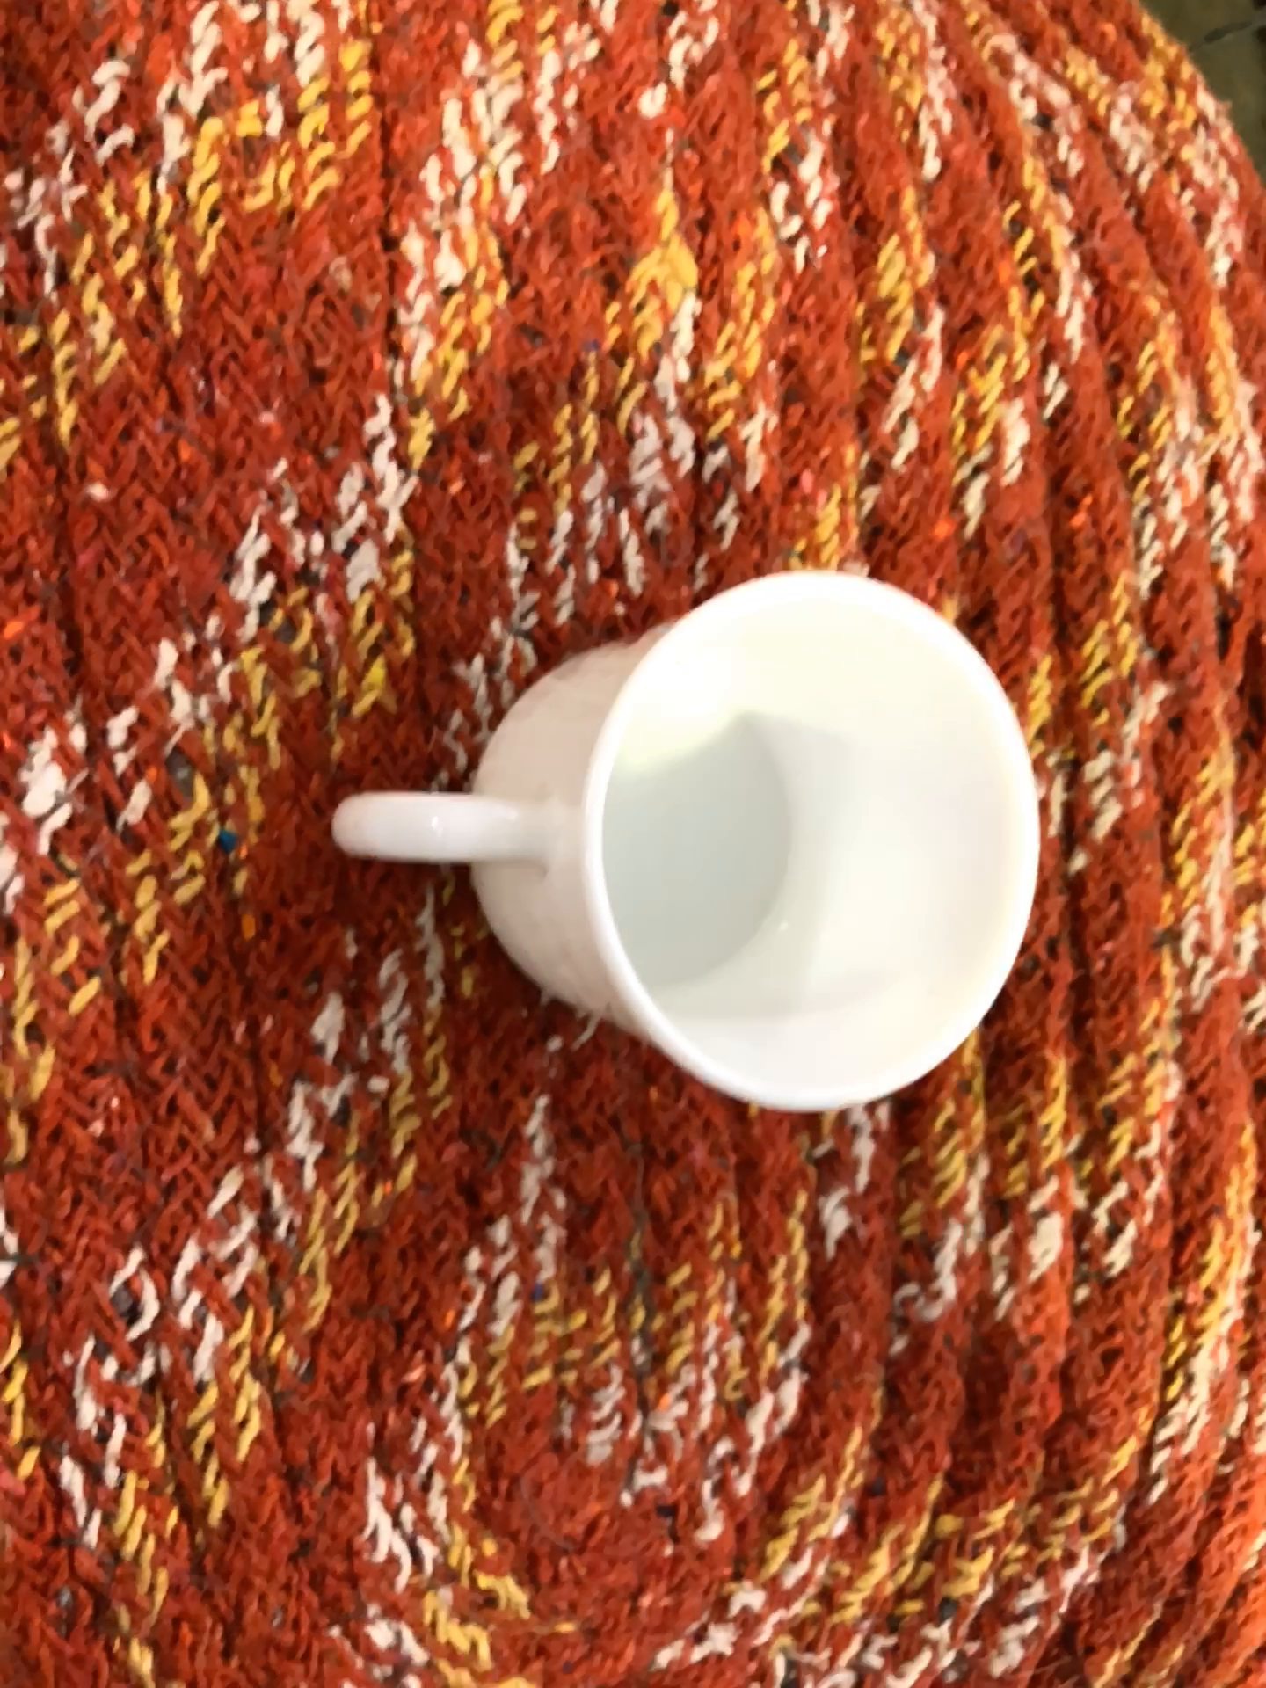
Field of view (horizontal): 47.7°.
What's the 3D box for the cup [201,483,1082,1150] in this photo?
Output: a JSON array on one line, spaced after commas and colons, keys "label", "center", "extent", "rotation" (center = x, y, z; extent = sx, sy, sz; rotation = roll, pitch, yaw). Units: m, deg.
[{"label": "cup", "center": [-0.002, -0.003, 0.175], "extent": [0.090, 0.060, 0.060], "rotation": [0, 91, -24]}]
